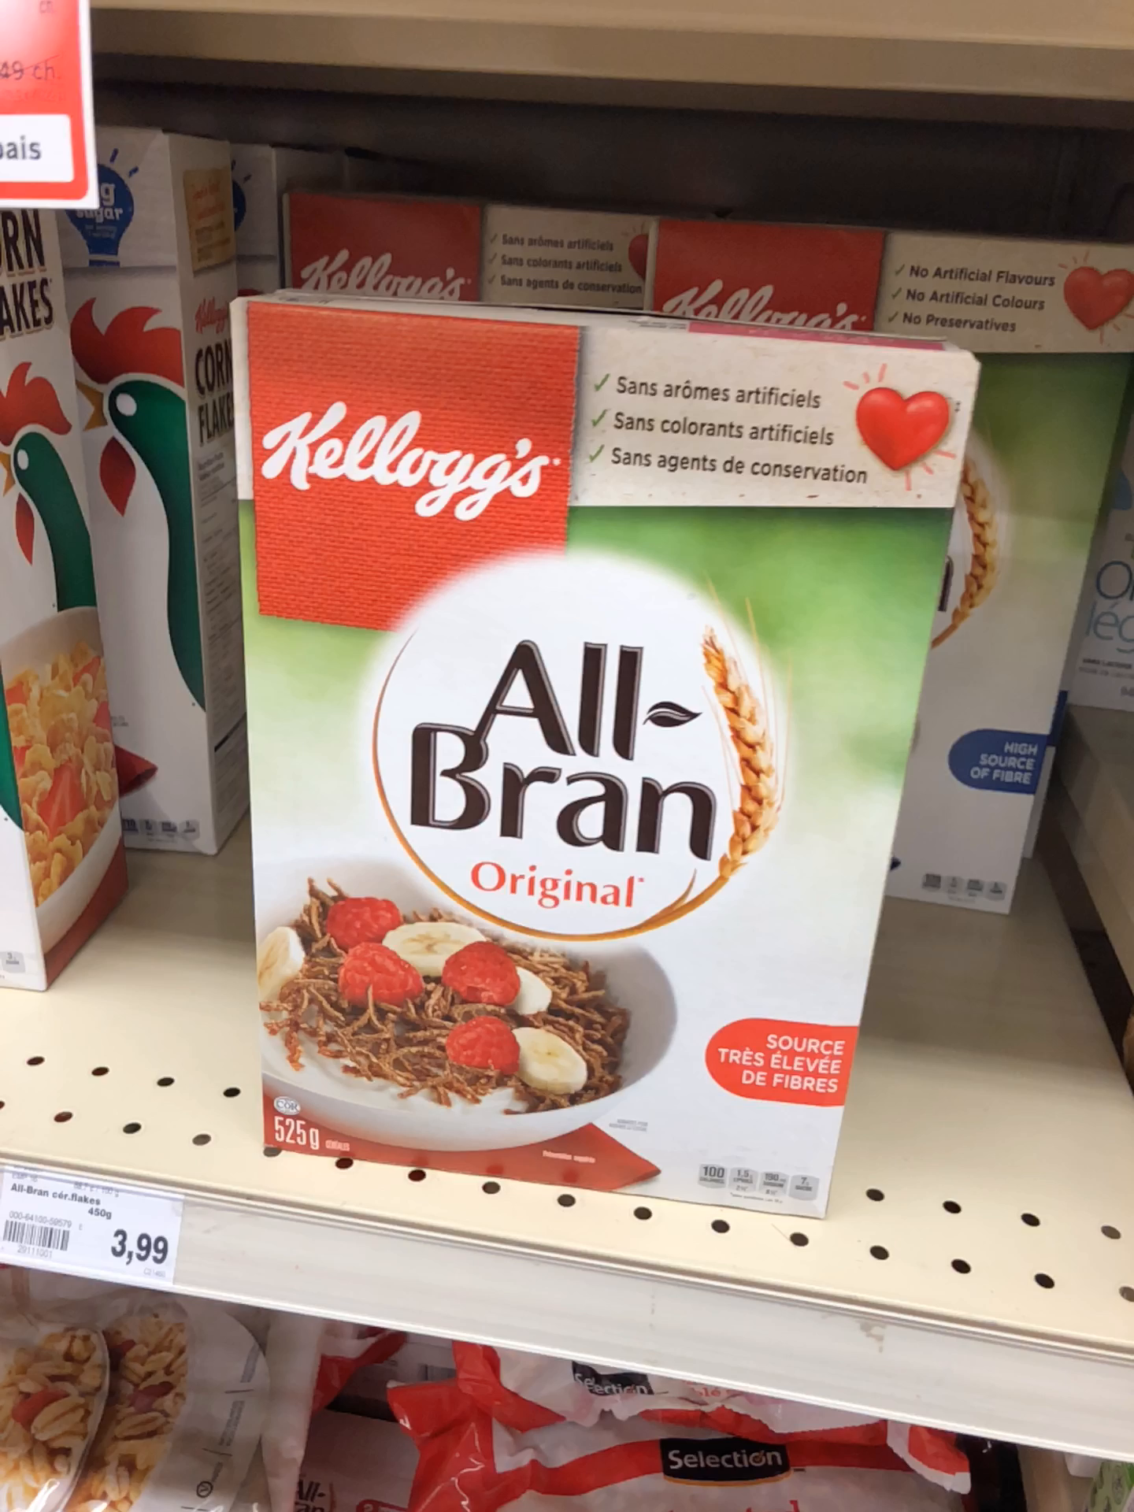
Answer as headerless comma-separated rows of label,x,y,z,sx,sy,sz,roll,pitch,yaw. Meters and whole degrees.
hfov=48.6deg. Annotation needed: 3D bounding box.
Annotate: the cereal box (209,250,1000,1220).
cereal box,0.003,0.000,0.389,0.190,0.278,0.070,5,24,4
